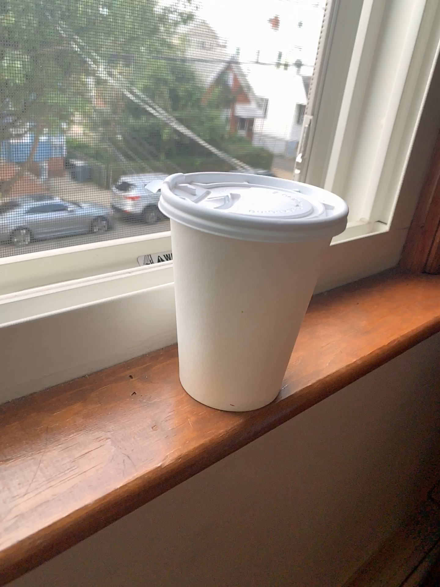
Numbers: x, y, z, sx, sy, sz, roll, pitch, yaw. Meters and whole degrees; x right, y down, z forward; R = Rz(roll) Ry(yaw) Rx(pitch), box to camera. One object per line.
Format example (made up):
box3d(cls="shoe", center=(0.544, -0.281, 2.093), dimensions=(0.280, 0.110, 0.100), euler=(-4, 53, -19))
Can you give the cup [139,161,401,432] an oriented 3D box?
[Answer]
box3d(cls="cup", center=(0.013, -0.006, 0.235), dimensions=(0.090, 0.099, 0.091), euler=(6, 26, -3))
